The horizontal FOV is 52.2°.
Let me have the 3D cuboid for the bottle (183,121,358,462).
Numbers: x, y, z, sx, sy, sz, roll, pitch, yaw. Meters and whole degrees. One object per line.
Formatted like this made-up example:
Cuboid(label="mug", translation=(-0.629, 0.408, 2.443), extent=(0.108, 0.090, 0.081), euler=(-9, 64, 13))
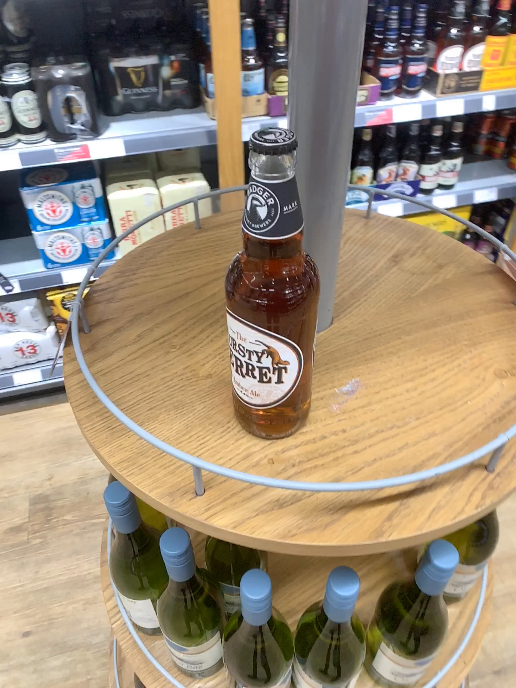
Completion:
Cuboid(label="bottle", translation=(0.009, -0.025, 0.383), extent=(0.069, 0.231, 0.076), euler=(32, 52, 31))
